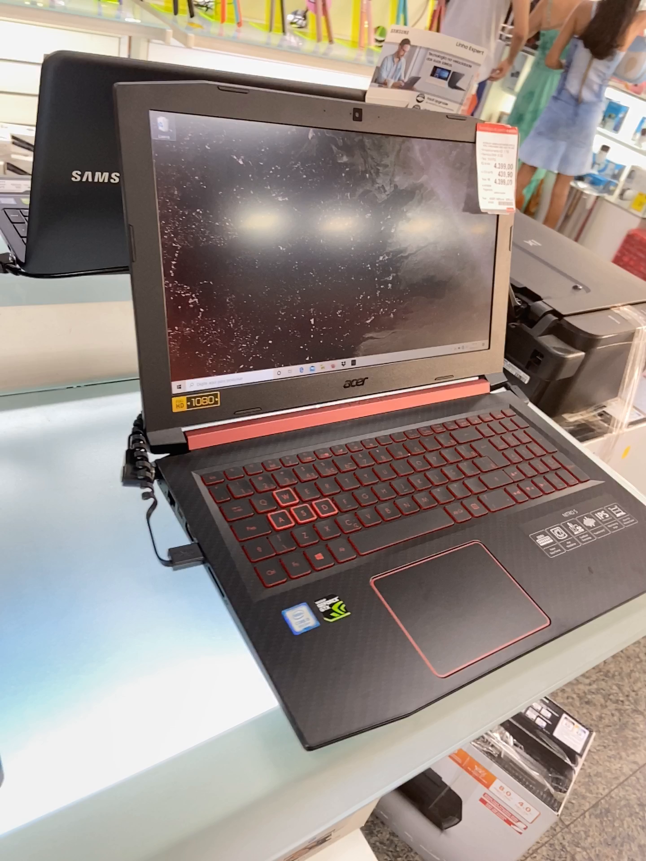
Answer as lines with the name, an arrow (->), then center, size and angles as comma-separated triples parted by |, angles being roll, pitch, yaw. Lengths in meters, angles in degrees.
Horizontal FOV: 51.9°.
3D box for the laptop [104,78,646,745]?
laptop -> 0.087, -0.067, 0.499 | 0.389, 0.218, 0.361 | -11, 45, -32
